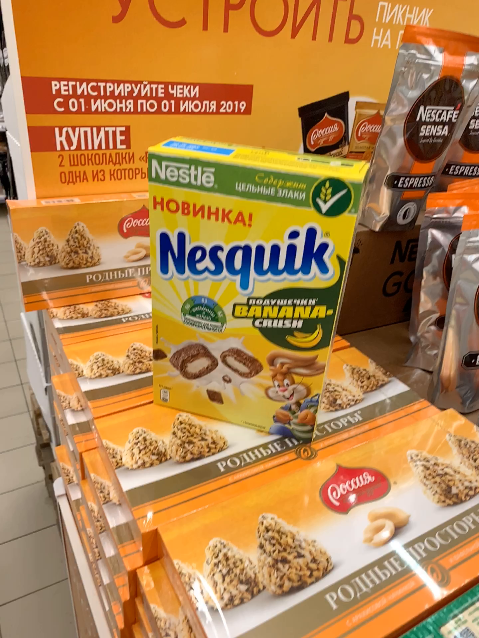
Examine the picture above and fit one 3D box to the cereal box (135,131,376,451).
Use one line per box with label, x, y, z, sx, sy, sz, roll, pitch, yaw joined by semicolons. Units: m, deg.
cereal box;0.004;-0.018;0.397;0.160;0.229;0.050;12;29;13
